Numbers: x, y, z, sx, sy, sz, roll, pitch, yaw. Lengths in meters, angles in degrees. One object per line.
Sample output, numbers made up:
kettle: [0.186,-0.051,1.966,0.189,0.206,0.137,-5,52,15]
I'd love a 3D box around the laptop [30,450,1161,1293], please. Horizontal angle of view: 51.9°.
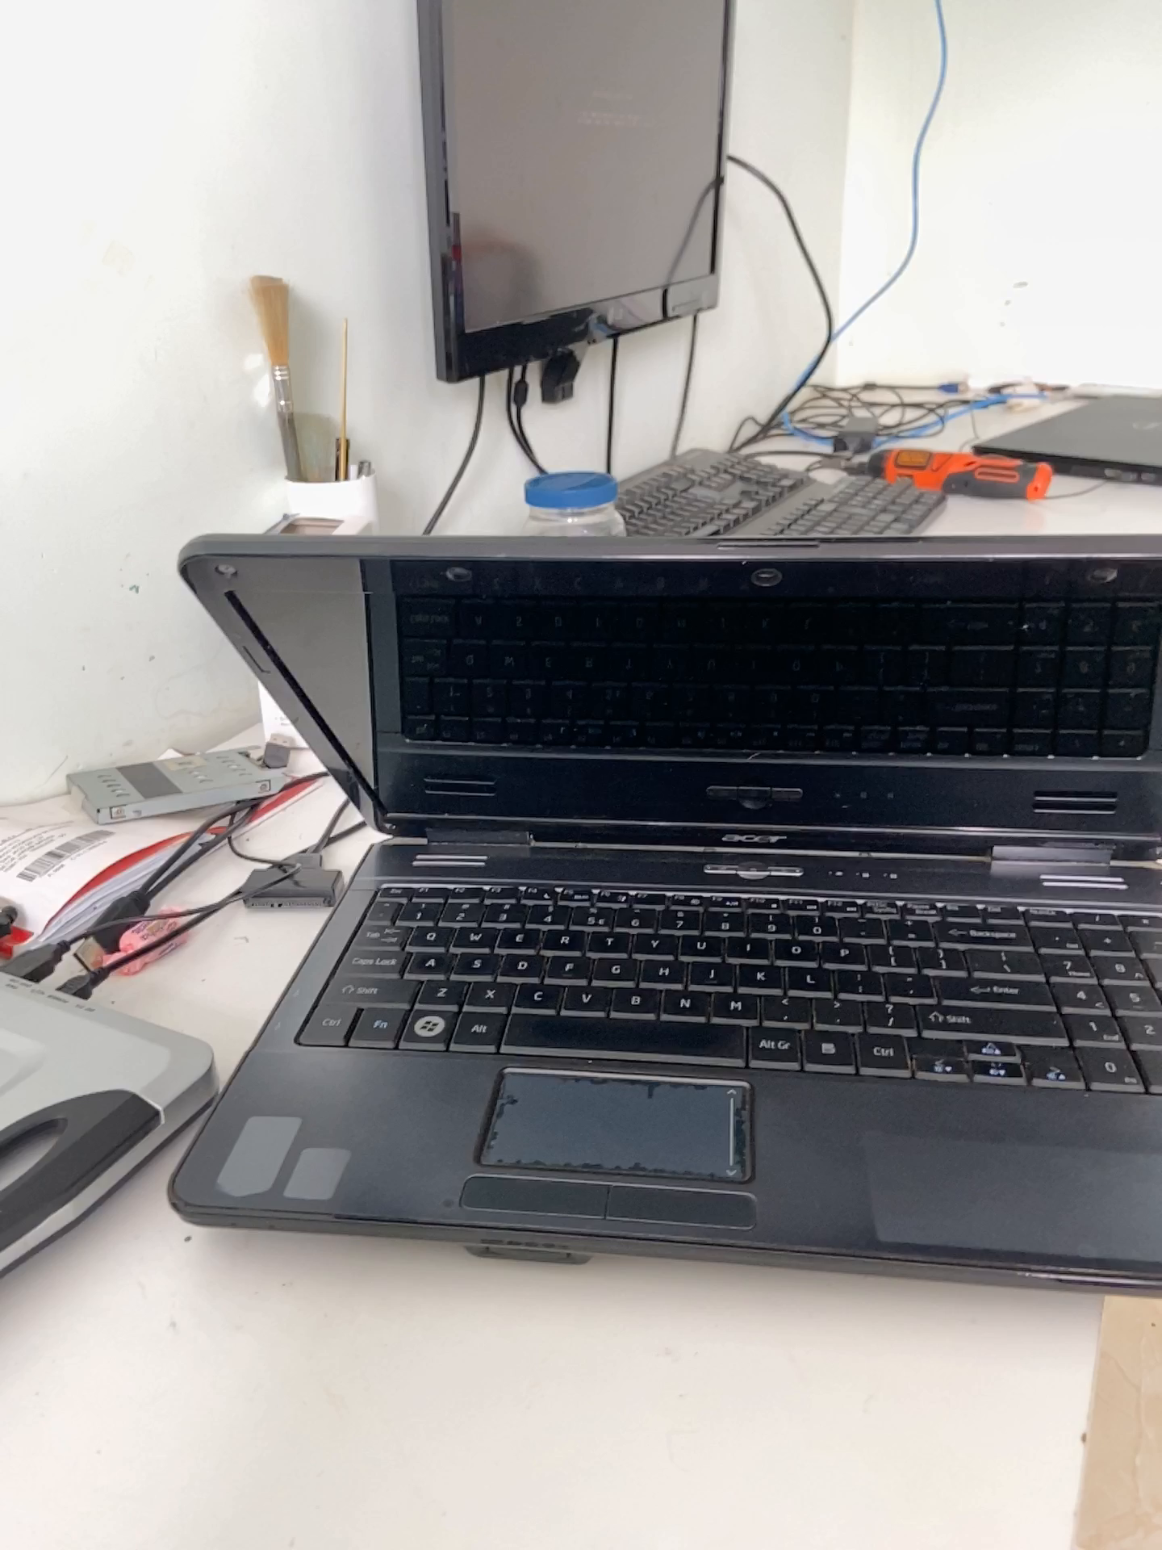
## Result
laptop: [0.063,0.004,0.418,0.366,0.183,0.234,1,26,8]
